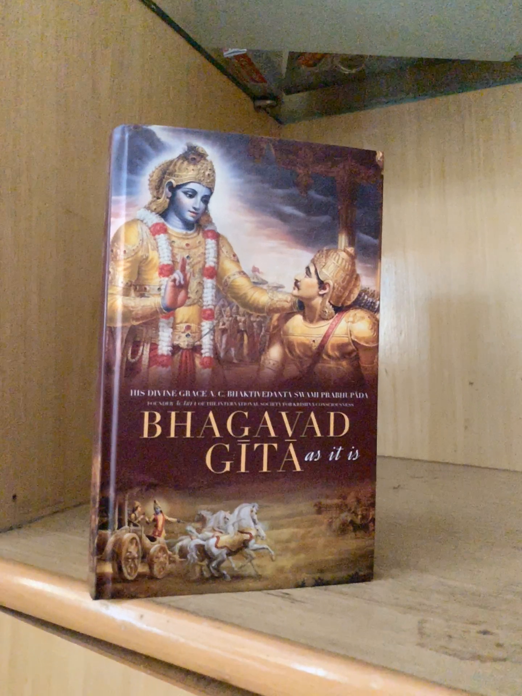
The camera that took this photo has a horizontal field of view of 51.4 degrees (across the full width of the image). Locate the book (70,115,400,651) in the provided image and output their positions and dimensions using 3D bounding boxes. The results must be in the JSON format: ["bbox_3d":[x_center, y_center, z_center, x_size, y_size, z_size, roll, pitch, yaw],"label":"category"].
[{"bbox_3d":[-0.012,0.014,0.272,0.140,0.220,0.070,2,-3,-12],"label":"book"}]
